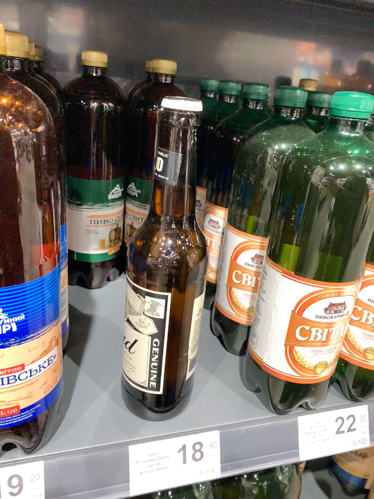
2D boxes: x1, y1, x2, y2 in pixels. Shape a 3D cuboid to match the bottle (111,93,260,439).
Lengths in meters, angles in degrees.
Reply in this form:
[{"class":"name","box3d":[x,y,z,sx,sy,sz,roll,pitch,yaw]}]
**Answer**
[{"class":"bottle","box3d":[-0.010,0.018,0.311,0.064,0.258,0.070,25,30,37]}]
